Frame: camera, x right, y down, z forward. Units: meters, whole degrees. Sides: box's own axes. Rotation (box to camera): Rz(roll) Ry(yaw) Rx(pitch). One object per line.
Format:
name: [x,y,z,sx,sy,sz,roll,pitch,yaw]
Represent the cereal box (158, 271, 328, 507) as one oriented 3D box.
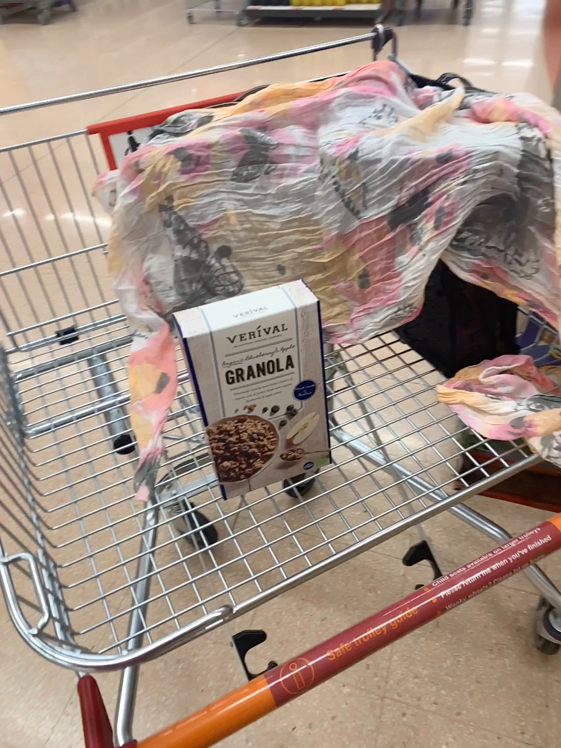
cereal box: [-0.029,0.023,0.588,0.140,0.228,0.050,-16,39,-13]
